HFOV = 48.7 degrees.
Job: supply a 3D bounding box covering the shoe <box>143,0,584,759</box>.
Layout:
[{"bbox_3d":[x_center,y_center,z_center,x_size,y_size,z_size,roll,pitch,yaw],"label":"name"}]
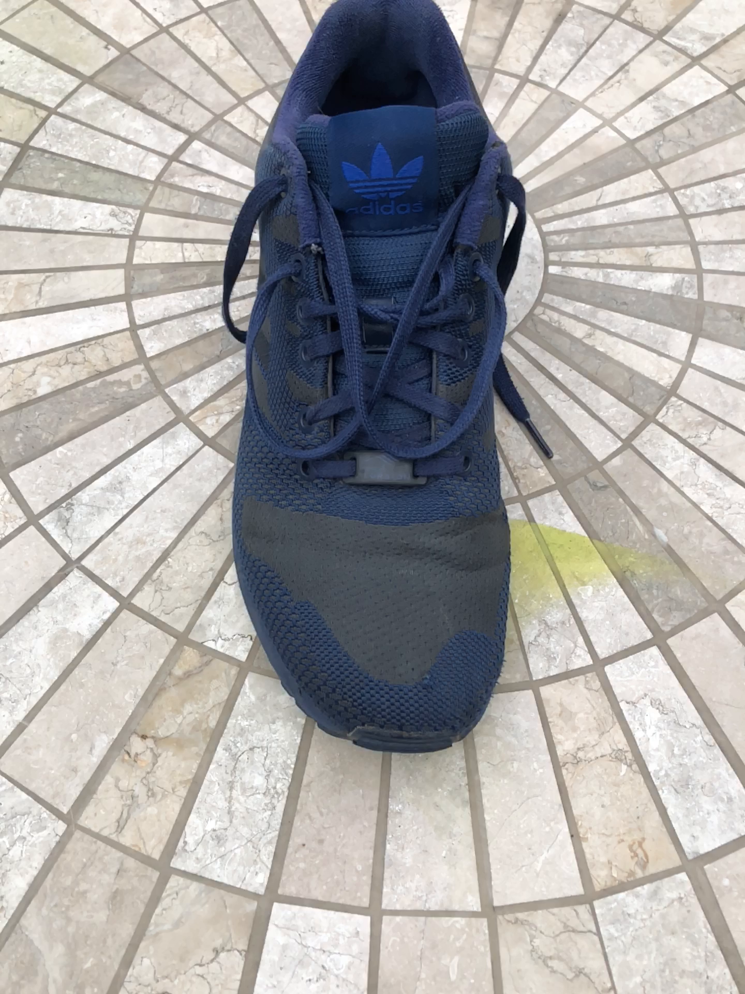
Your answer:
[{"bbox_3d":[-0.001,-0.053,0.312,0.110,0.110,0.281,1,67,0],"label":"shoe"}]
